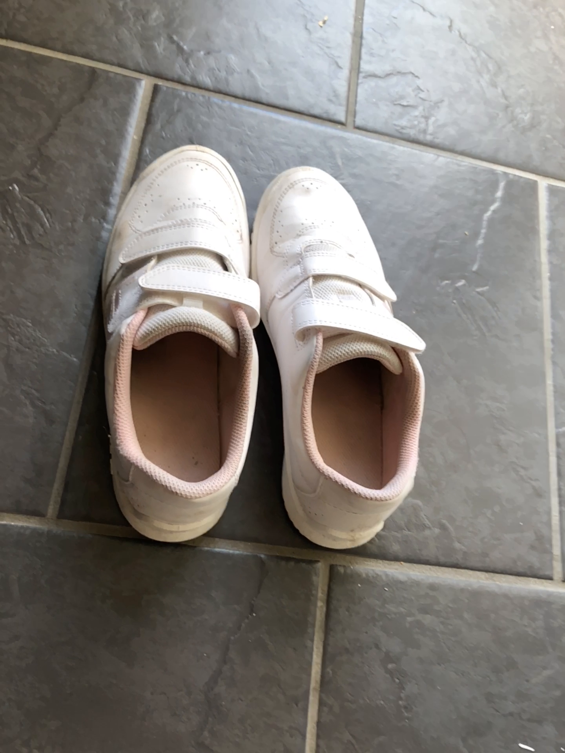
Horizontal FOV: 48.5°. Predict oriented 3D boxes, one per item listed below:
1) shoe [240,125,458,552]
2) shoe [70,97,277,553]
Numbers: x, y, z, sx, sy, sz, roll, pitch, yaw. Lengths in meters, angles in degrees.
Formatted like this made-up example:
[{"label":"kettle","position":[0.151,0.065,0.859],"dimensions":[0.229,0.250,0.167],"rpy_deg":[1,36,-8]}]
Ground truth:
[{"label":"shoe","position":[0.031,-0.022,0.401],"dimensions":[0.095,0.090,0.251],"rpy_deg":[1,72,-13]},{"label":"shoe","position":[-0.059,-0.027,0.375],"dimensions":[0.095,0.090,0.251],"rpy_deg":[4,71,-12]}]
